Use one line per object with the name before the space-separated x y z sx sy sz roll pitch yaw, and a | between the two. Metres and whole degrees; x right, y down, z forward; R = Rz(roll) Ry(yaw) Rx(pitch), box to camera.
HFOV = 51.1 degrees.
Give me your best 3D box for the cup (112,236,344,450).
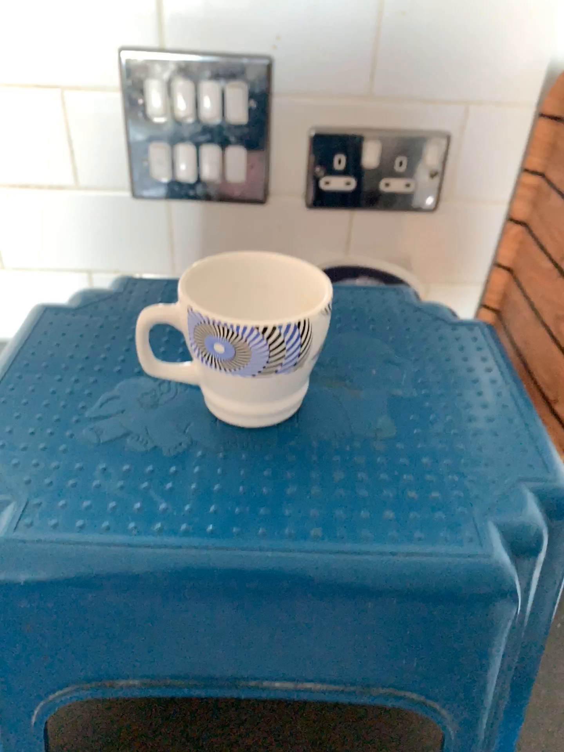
cup | -0.019 -0.018 0.263 0.085 0.054 0.079 2 37 -2
